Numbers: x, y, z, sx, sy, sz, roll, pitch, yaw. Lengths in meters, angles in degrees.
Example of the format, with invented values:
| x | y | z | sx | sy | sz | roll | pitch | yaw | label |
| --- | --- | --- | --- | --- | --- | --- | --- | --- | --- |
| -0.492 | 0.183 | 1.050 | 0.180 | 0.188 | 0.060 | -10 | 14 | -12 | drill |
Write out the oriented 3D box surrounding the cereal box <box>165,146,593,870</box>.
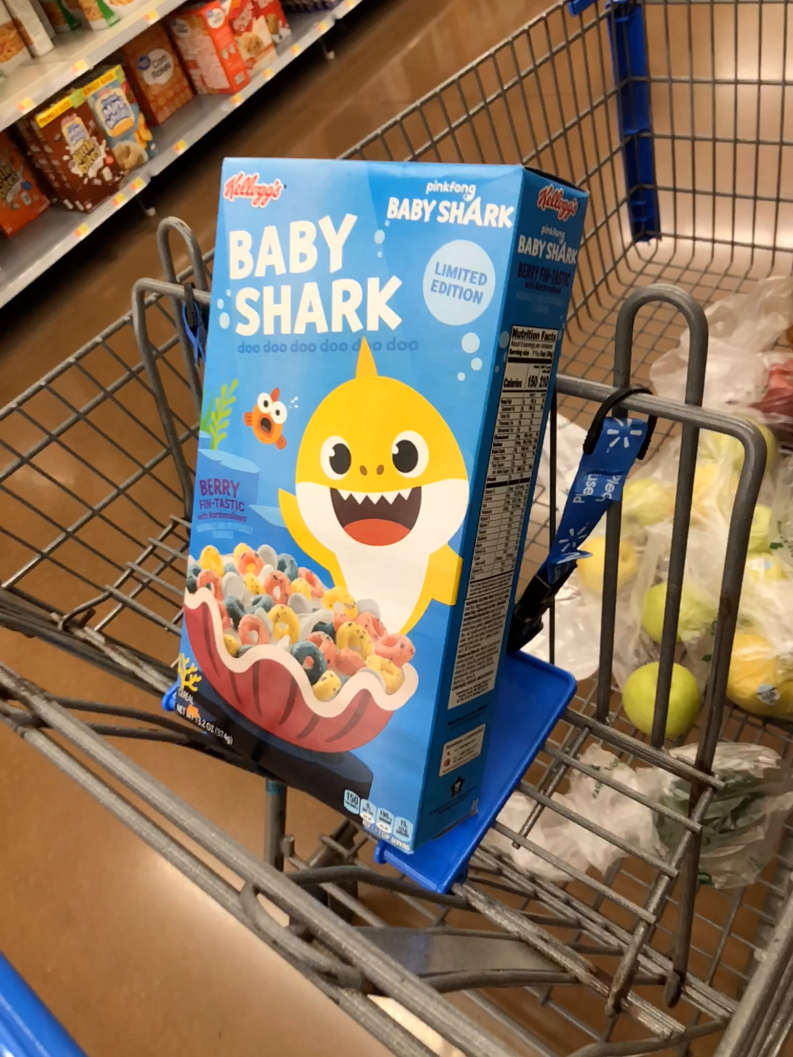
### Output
| x | y | z | sx | sy | sz | roll | pitch | yaw | label |
| --- | --- | --- | --- | --- | --- | --- | --- | --- | --- |
| -0.028 | -0.019 | 0.480 | 0.191 | 0.340 | 0.070 | 20 | 19 | 35 | cereal box |
